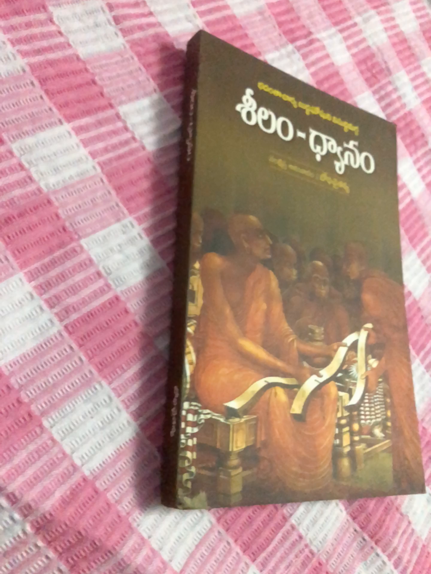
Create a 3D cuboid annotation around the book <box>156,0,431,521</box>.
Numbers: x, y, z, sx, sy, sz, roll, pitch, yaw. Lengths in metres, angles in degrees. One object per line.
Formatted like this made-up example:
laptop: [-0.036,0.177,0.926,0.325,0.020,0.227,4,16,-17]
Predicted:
book: [0.048,-0.010,0.231,0.141,0.020,0.210,12,73,-31]
